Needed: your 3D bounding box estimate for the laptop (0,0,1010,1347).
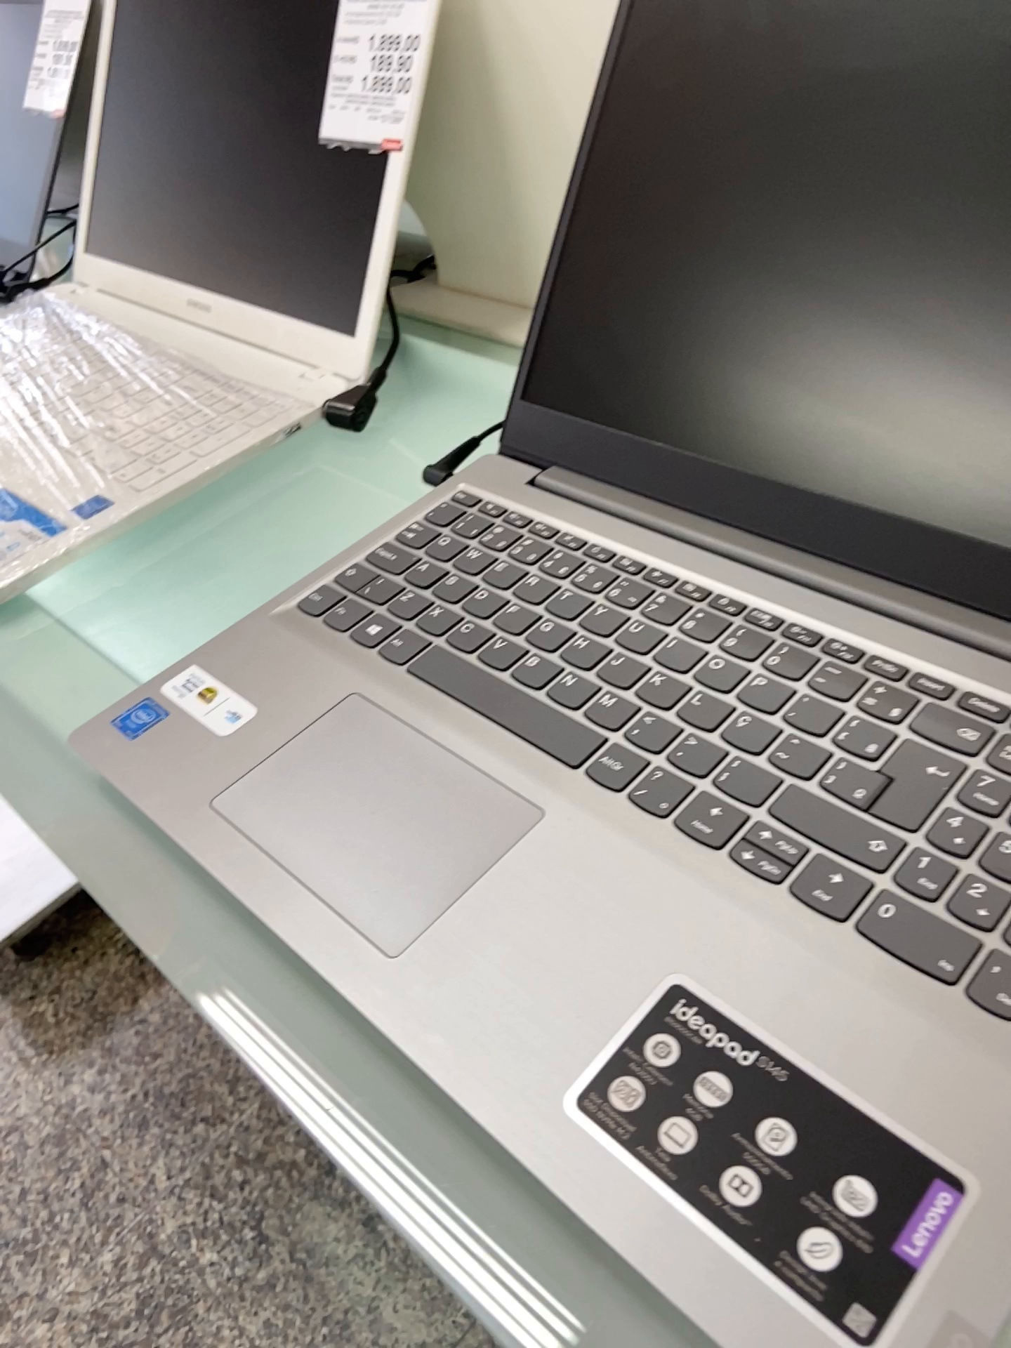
[{"bbox_3d":[0.070,-0.089,0.342,0.367,0.189,0.402,27,55,37],"label":"laptop"}]
